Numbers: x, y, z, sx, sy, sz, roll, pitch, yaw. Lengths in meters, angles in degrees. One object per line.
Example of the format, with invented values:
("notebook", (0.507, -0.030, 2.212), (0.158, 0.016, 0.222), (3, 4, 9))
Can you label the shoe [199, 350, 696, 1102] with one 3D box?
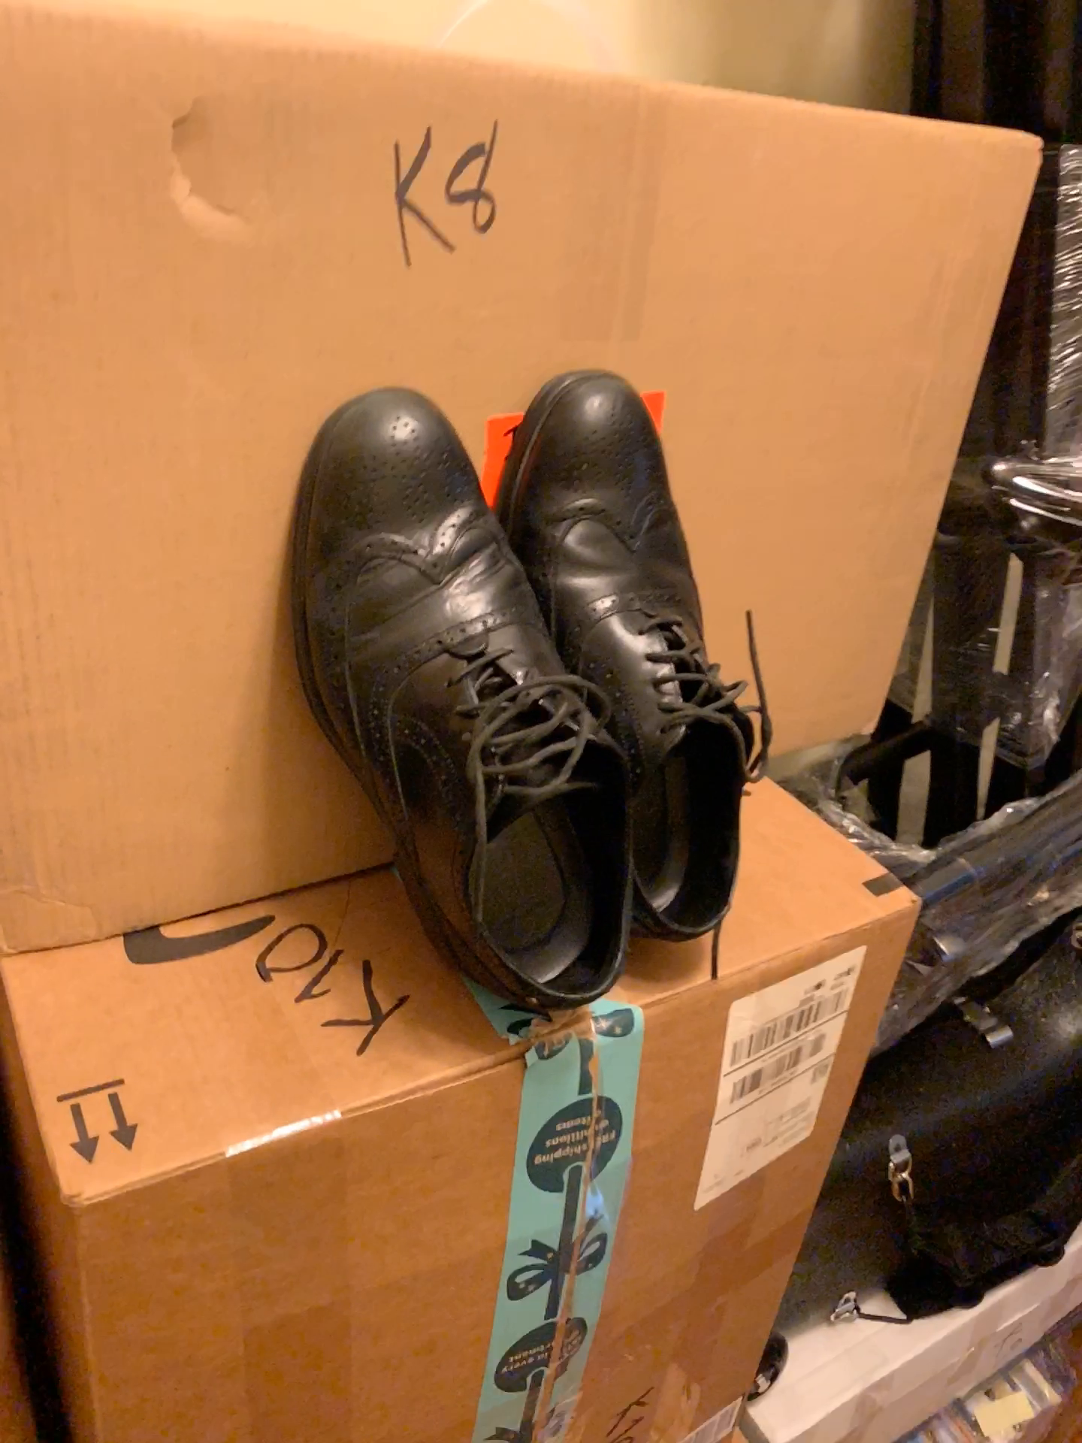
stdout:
("shoe", (-0.032, -0.001, 0.482), (0.120, 0.279, 0.100), (-25, 24, -30))

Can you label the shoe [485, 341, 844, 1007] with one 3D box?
("shoe", (0.057, -0.030, 0.525), (0.120, 0.279, 0.100), (-12, 19, -32))
